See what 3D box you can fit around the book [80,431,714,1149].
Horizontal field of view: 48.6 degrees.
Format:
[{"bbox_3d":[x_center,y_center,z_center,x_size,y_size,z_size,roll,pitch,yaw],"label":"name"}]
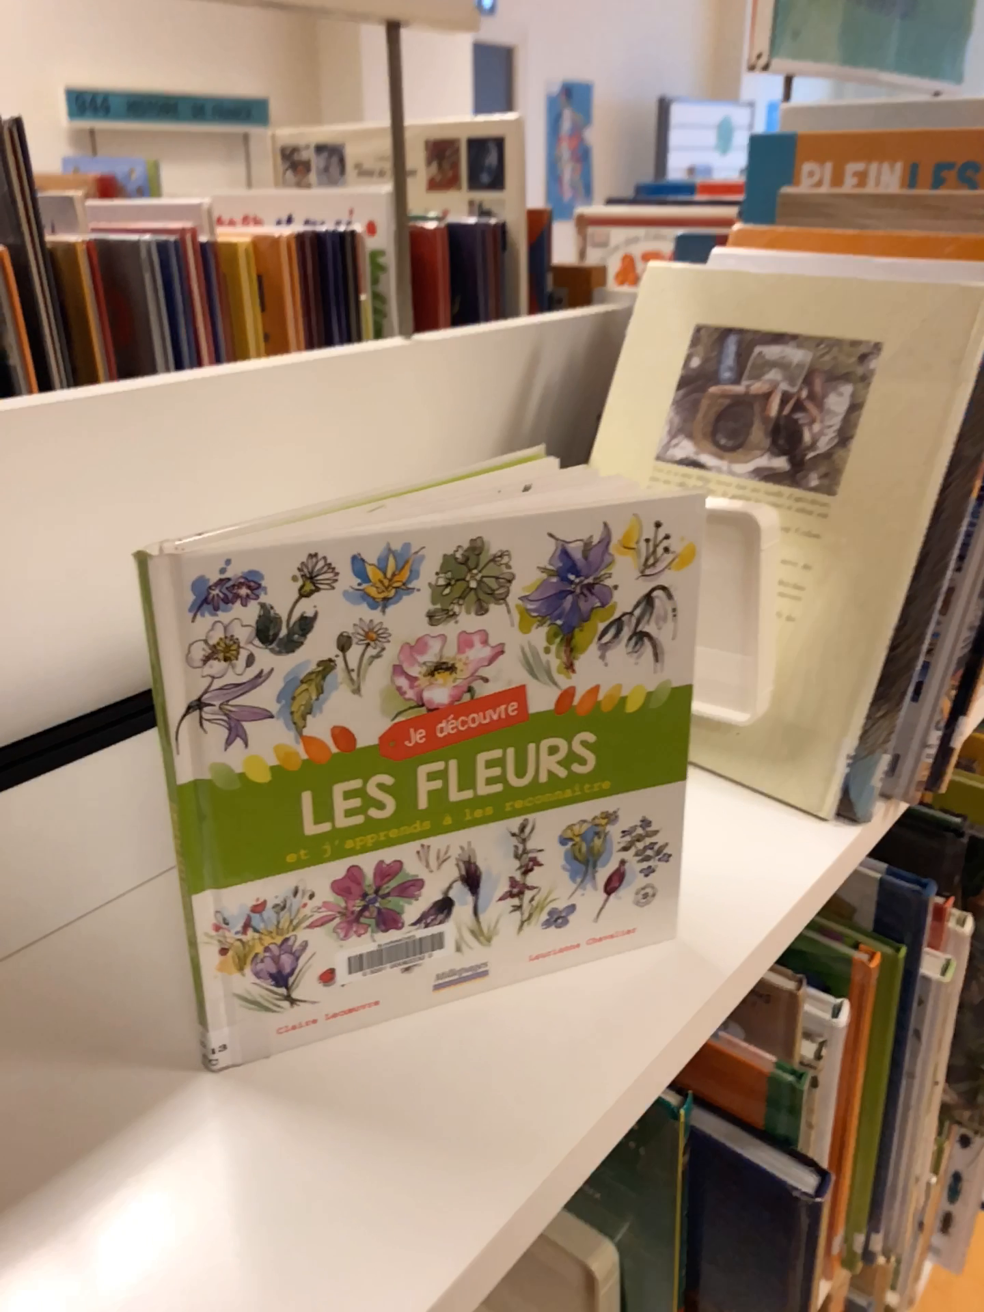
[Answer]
[{"bbox_3d":[-0.030,0.037,0.439,0.209,0.215,0.104,-14,25,-29],"label":"book"}]
